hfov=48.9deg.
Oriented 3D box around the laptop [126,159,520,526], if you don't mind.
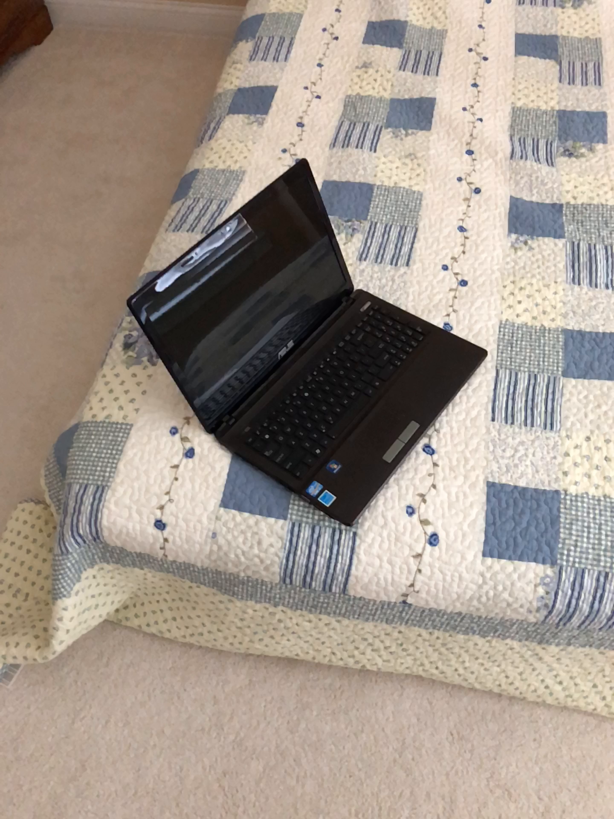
[{"bbox_3d":[0.027,-0.110,0.931,0.350,0.193,0.358,32,61,21],"label":"laptop"}]
